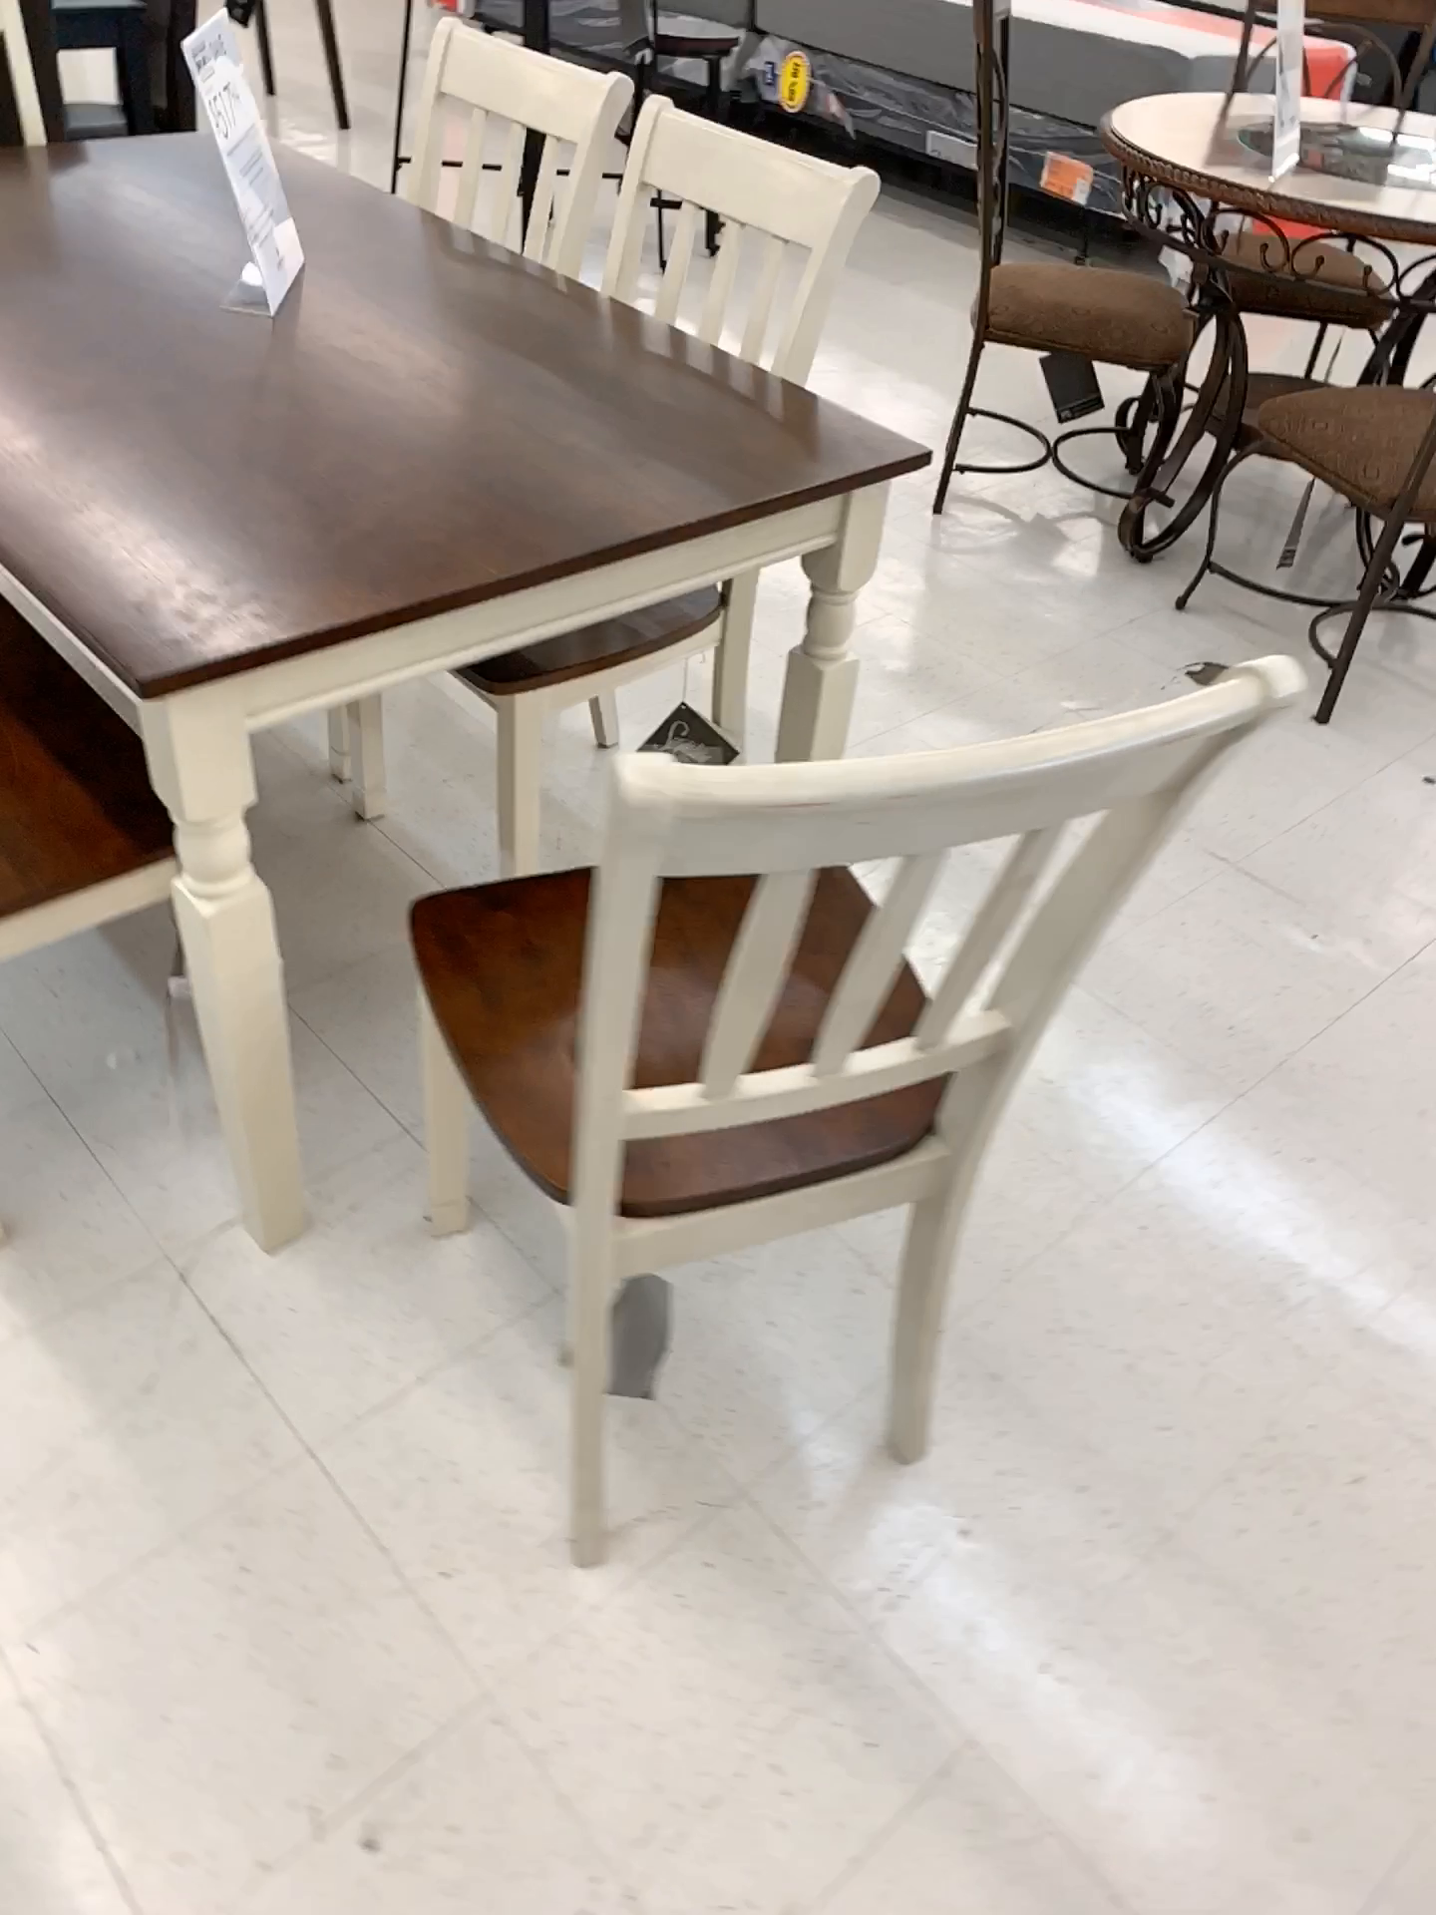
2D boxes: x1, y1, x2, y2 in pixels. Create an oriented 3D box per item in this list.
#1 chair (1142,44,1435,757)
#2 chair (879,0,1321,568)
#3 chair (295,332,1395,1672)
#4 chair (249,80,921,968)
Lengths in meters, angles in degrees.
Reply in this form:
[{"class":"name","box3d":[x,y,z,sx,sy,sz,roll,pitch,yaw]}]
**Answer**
[{"class":"chair","box3d":[1.223,-0.950,2.547,0.464,0.982,0.607,-7,42,-15]},{"class":"chair","box3d":[0.732,-1.400,2.994,0.604,0.972,0.477,11,41,6]},{"class":"chair","box3d":[0.006,0.038,1.269,0.525,0.902,0.597,-13,44,-21]},{"class":"chair","box3d":[-0.181,-0.579,1.966,0.606,0.932,0.465,-27,51,-33]}]
